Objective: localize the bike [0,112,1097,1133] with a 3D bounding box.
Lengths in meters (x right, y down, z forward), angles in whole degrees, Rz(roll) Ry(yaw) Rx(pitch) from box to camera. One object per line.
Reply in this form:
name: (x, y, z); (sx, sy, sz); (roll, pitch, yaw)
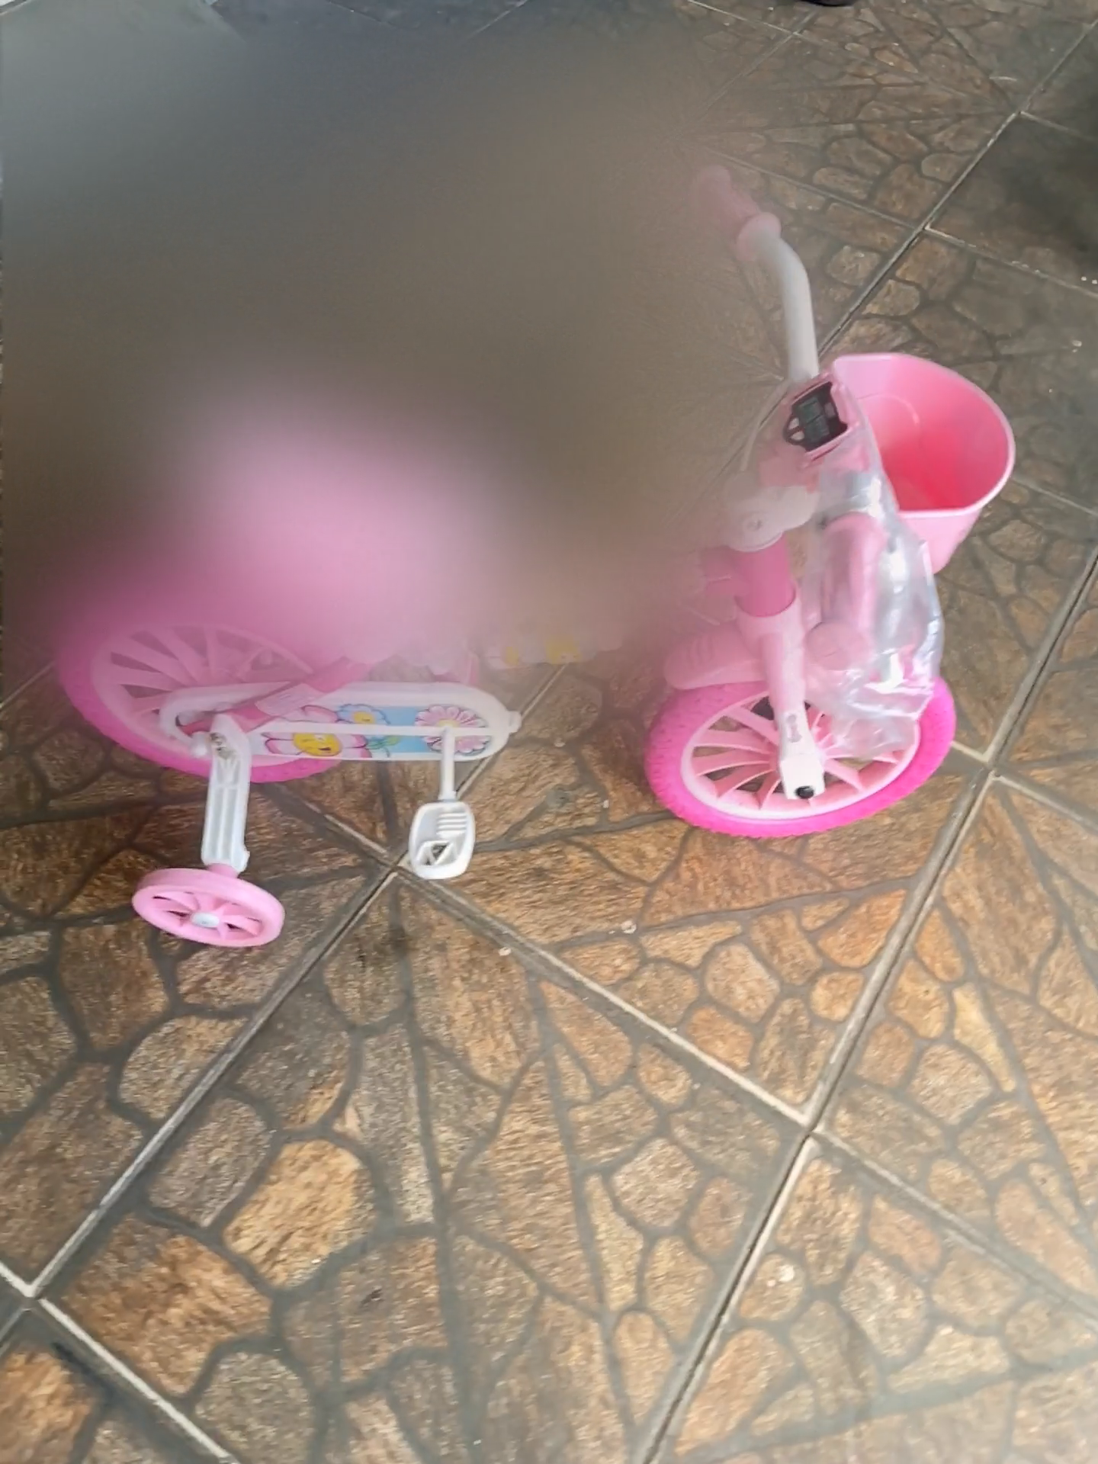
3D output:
bike: (-0.048, -0.058, 0.913); (0.792, 0.563, 0.513); (4, 54, 1)
